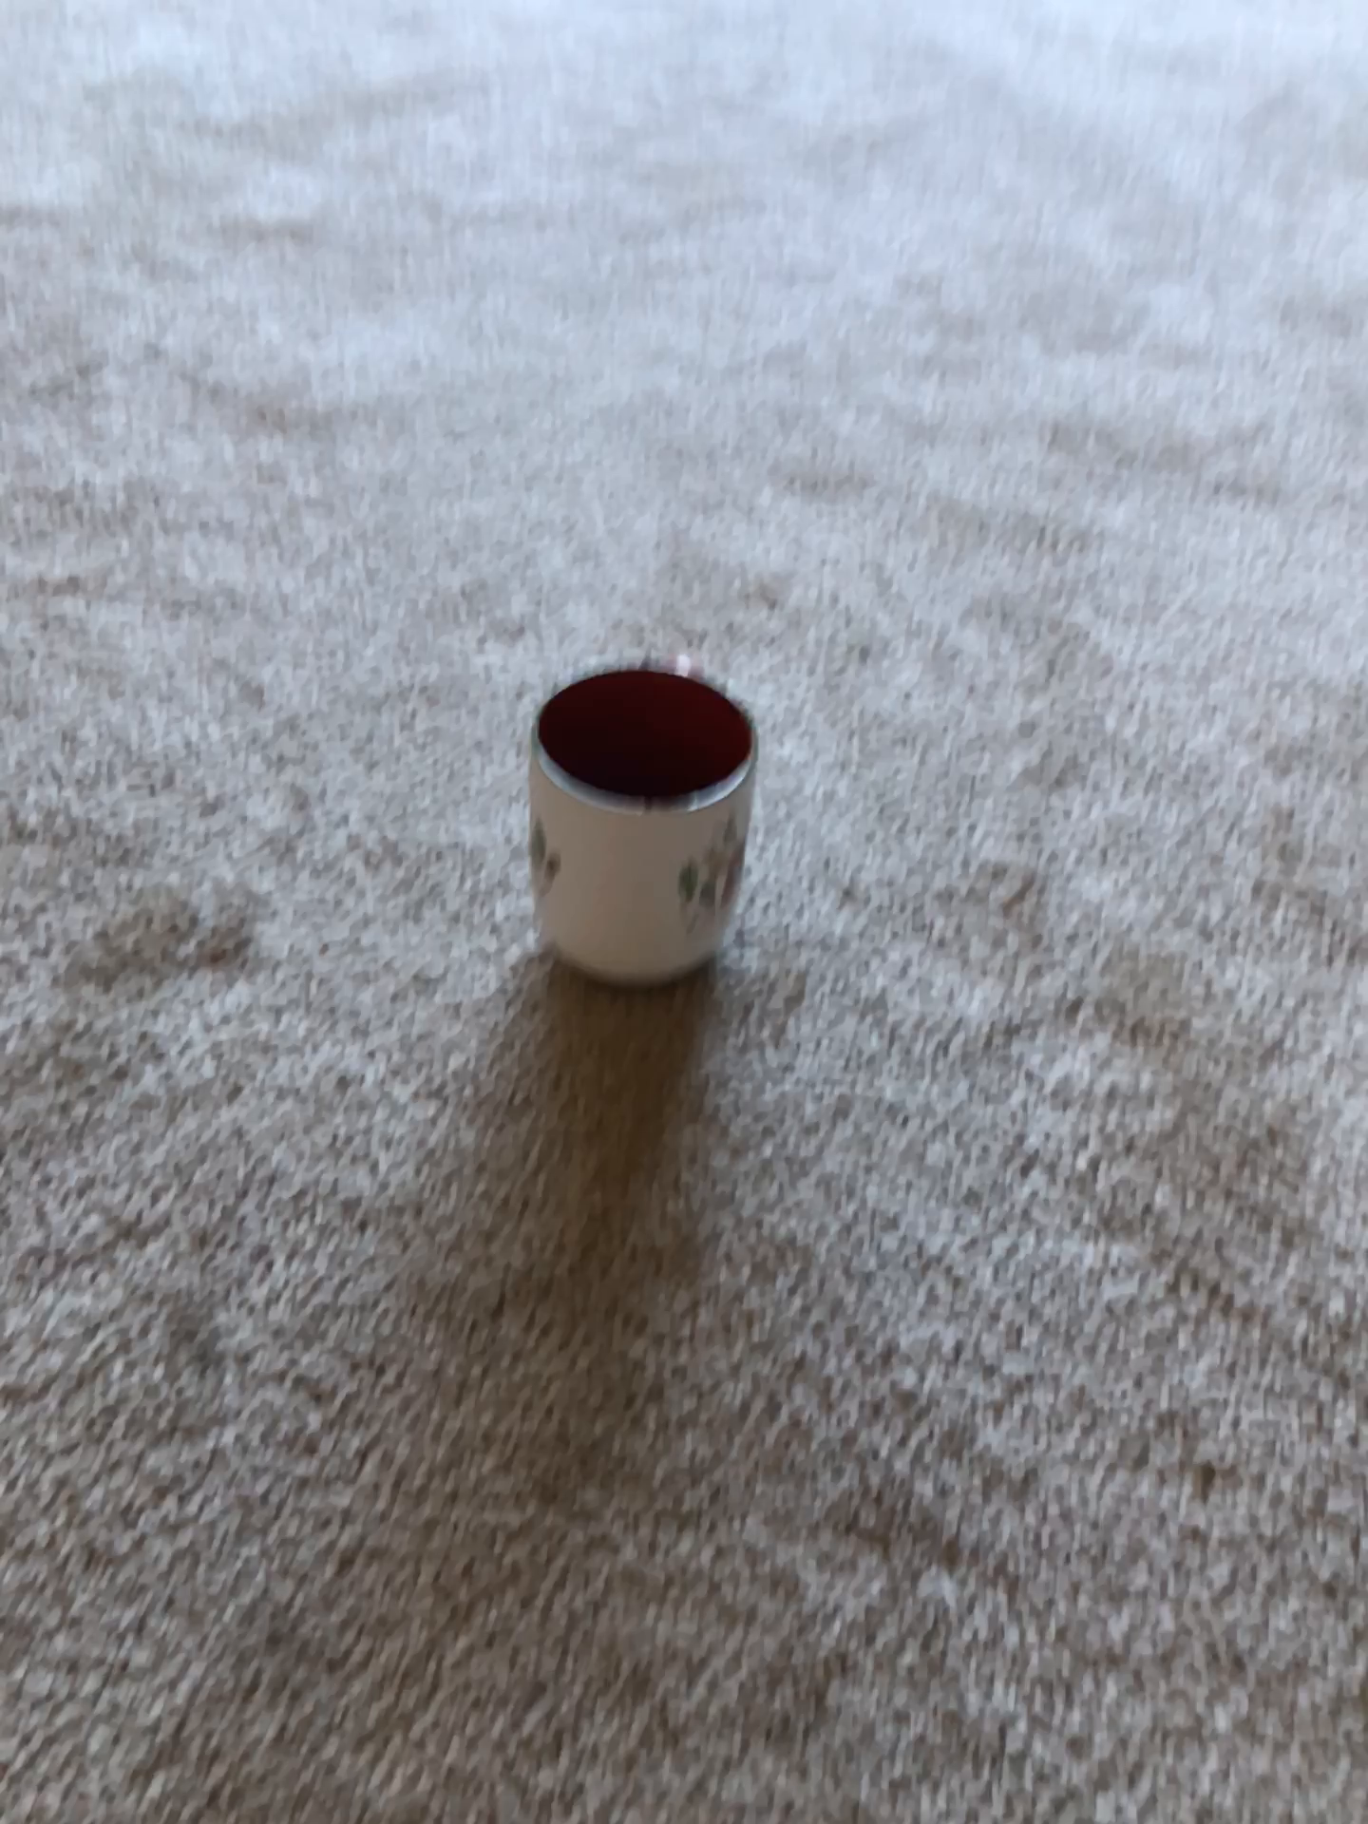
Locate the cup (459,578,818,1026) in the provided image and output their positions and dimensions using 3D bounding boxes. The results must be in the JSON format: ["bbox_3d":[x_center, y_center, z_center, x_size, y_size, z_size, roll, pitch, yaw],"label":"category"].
[{"bbox_3d":[-0.015,-0.047,0.608,0.100,0.090,0.141,13,48,8],"label":"cup"}]
